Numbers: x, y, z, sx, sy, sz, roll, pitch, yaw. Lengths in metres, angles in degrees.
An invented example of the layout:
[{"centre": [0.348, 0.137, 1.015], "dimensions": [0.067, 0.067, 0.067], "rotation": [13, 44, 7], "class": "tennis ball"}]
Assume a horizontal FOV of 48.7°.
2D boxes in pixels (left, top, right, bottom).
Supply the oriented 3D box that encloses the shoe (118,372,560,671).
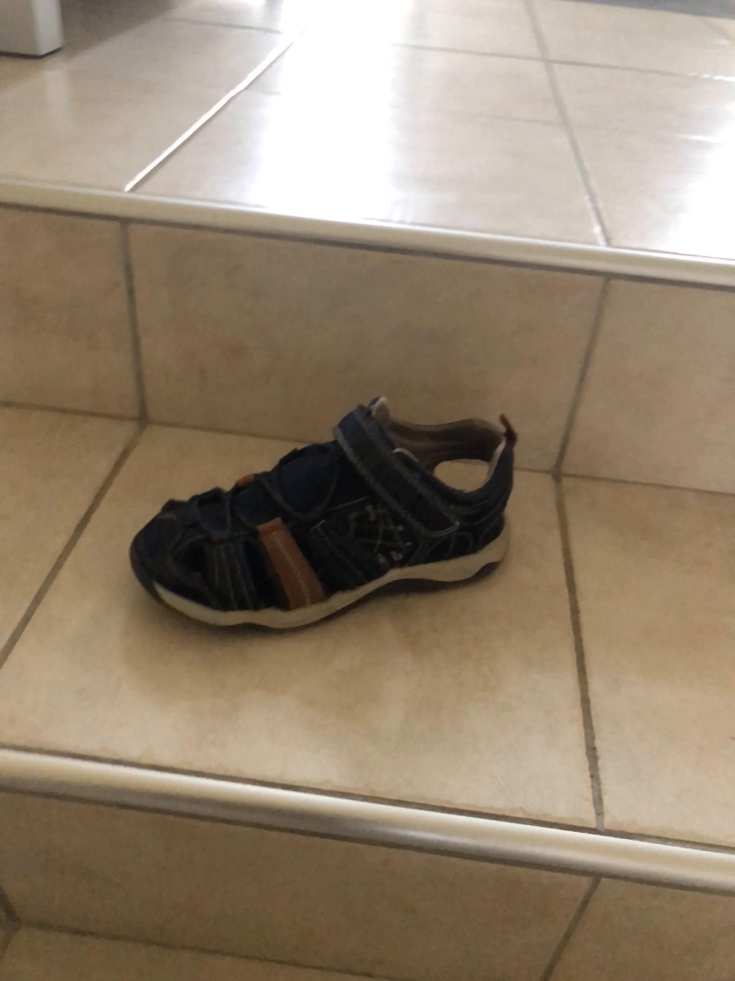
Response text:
[{"centre": [-0.018, 0.011, 0.466], "dimensions": [0.221, 0.099, 0.090], "rotation": [-10, 40, -19], "class": "shoe"}]
